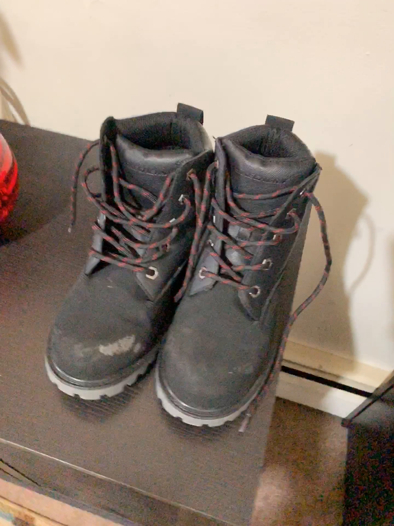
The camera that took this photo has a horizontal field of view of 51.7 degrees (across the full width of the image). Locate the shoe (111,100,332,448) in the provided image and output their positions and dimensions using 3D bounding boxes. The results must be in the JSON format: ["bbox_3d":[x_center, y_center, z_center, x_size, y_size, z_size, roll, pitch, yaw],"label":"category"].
[{"bbox_3d":[0.030,0.002,0.346,0.100,0.159,0.232,15,51,8],"label":"shoe"}]

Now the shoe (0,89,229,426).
[{"bbox_3d":[-0.057,-0.011,0.347,0.100,0.159,0.222,15,51,8],"label":"shoe"}]
